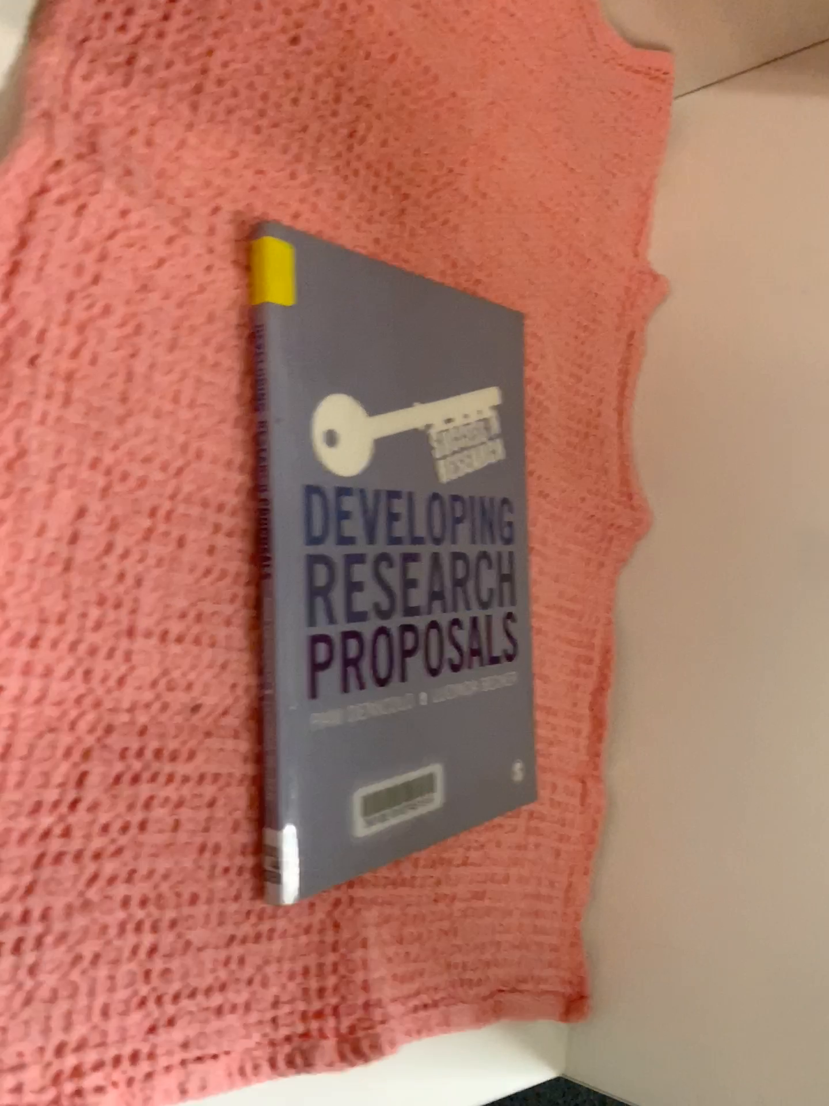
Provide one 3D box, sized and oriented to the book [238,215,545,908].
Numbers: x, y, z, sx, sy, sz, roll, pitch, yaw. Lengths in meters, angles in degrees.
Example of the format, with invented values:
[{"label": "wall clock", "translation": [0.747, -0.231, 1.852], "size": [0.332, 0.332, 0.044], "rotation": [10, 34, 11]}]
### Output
[{"label": "book", "translation": [0.000, 0.002, 0.350], "size": [0.167, 0.015, 0.230], "rotation": [1, 87, -50]}]
